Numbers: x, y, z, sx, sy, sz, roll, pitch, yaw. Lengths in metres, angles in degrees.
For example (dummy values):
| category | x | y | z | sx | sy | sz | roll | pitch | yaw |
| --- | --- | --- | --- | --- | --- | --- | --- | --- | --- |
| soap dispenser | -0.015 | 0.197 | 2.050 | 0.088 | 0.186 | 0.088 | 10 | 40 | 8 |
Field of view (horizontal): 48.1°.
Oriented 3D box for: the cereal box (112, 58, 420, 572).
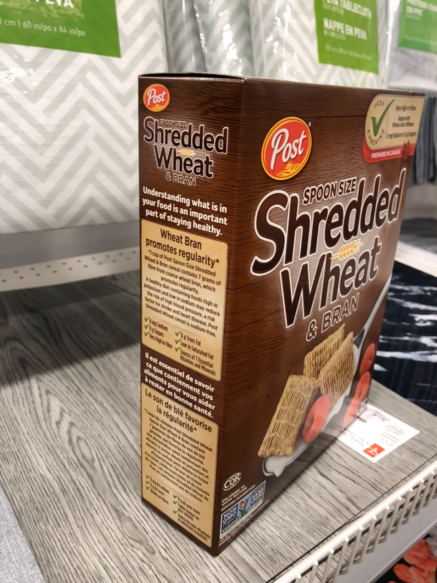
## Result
| category | x | y | z | sx | sy | sz | roll | pitch | yaw |
| --- | --- | --- | --- | --- | --- | --- | --- | --- | --- |
| cereal box | 0.033 | 0.002 | 0.319 | 0.070 | 0.259 | 0.200 | 21 | 27 | 35 |
